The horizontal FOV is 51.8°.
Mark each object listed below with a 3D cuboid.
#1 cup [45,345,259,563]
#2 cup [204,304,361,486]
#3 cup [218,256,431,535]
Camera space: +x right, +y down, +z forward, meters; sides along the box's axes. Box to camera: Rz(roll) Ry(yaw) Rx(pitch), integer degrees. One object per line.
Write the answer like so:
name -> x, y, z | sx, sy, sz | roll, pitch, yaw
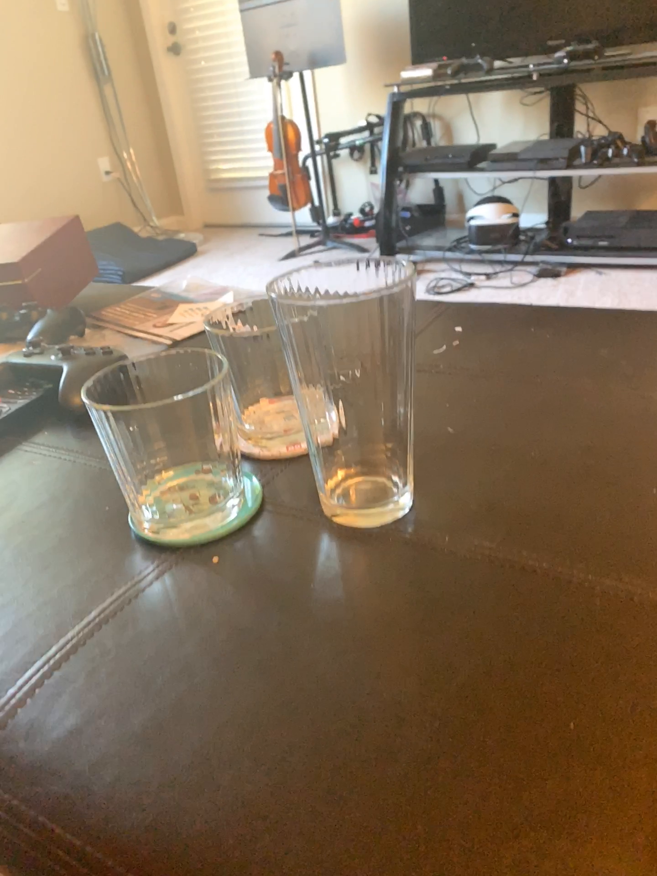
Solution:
cup -> -0.117, 0.005, 0.452 | 0.090, 0.089, 0.100 | -24, 32, -27
cup -> -0.037, -0.039, 0.563 | 0.080, 0.109, 0.090 | -24, 32, -27
cup -> 0.001, -0.031, 0.433 | 0.090, 0.139, 0.080 | -24, 32, -27
